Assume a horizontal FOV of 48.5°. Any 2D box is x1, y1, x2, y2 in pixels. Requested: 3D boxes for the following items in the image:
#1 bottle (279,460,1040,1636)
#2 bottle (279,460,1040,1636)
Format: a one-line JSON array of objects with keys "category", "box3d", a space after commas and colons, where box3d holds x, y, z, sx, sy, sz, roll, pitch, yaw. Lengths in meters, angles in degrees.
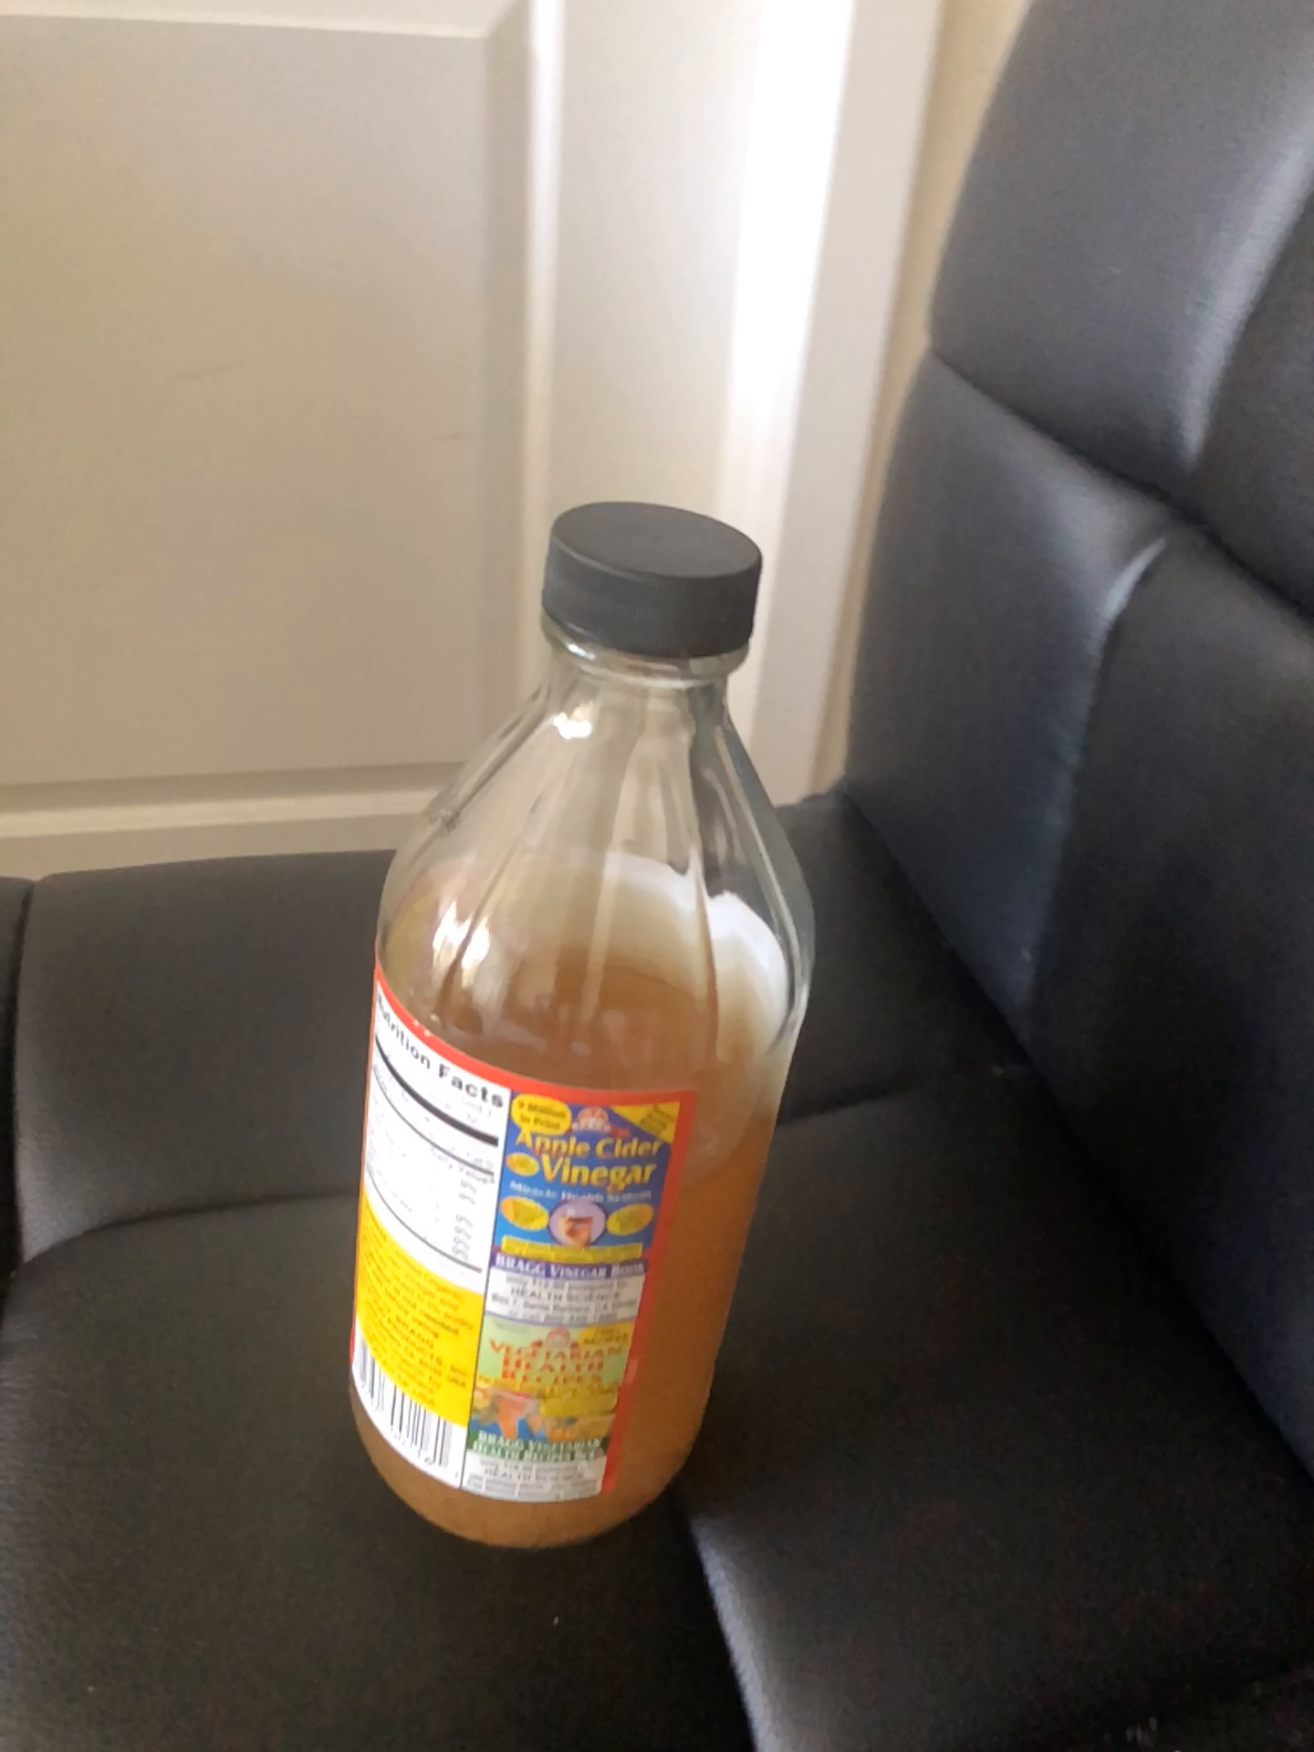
[{"category": "bottle", "box3d": [-0.011, 0.032, 0.248, 0.070, 0.179, 0.070, 9, 33, -6]}, {"category": "bottle", "box3d": [-0.011, 0.032, 0.248, 0.070, 0.179, 0.070, 9, 33, -6]}]
